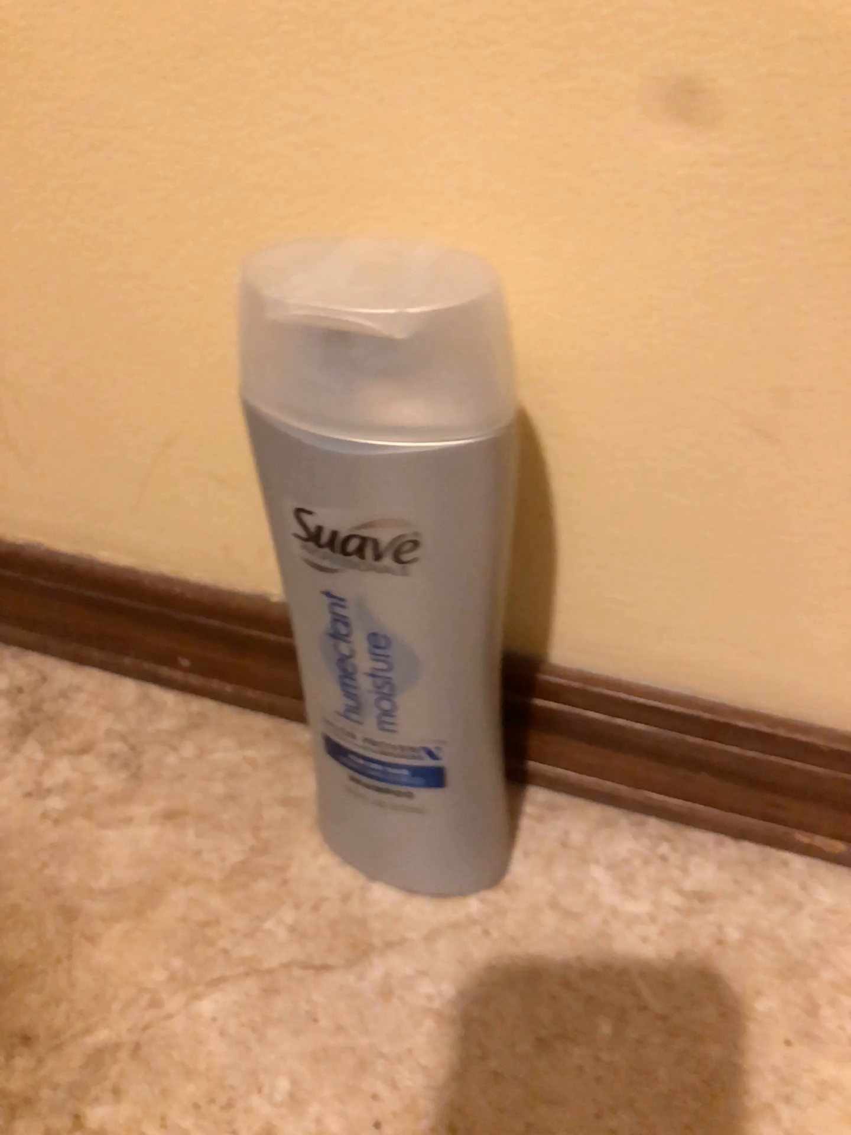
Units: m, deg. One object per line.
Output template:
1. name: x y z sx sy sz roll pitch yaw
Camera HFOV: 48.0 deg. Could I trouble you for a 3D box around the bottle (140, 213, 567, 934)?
1. bottle: -0.011 0.016 0.274 0.080 0.209 0.050 11 41 16
